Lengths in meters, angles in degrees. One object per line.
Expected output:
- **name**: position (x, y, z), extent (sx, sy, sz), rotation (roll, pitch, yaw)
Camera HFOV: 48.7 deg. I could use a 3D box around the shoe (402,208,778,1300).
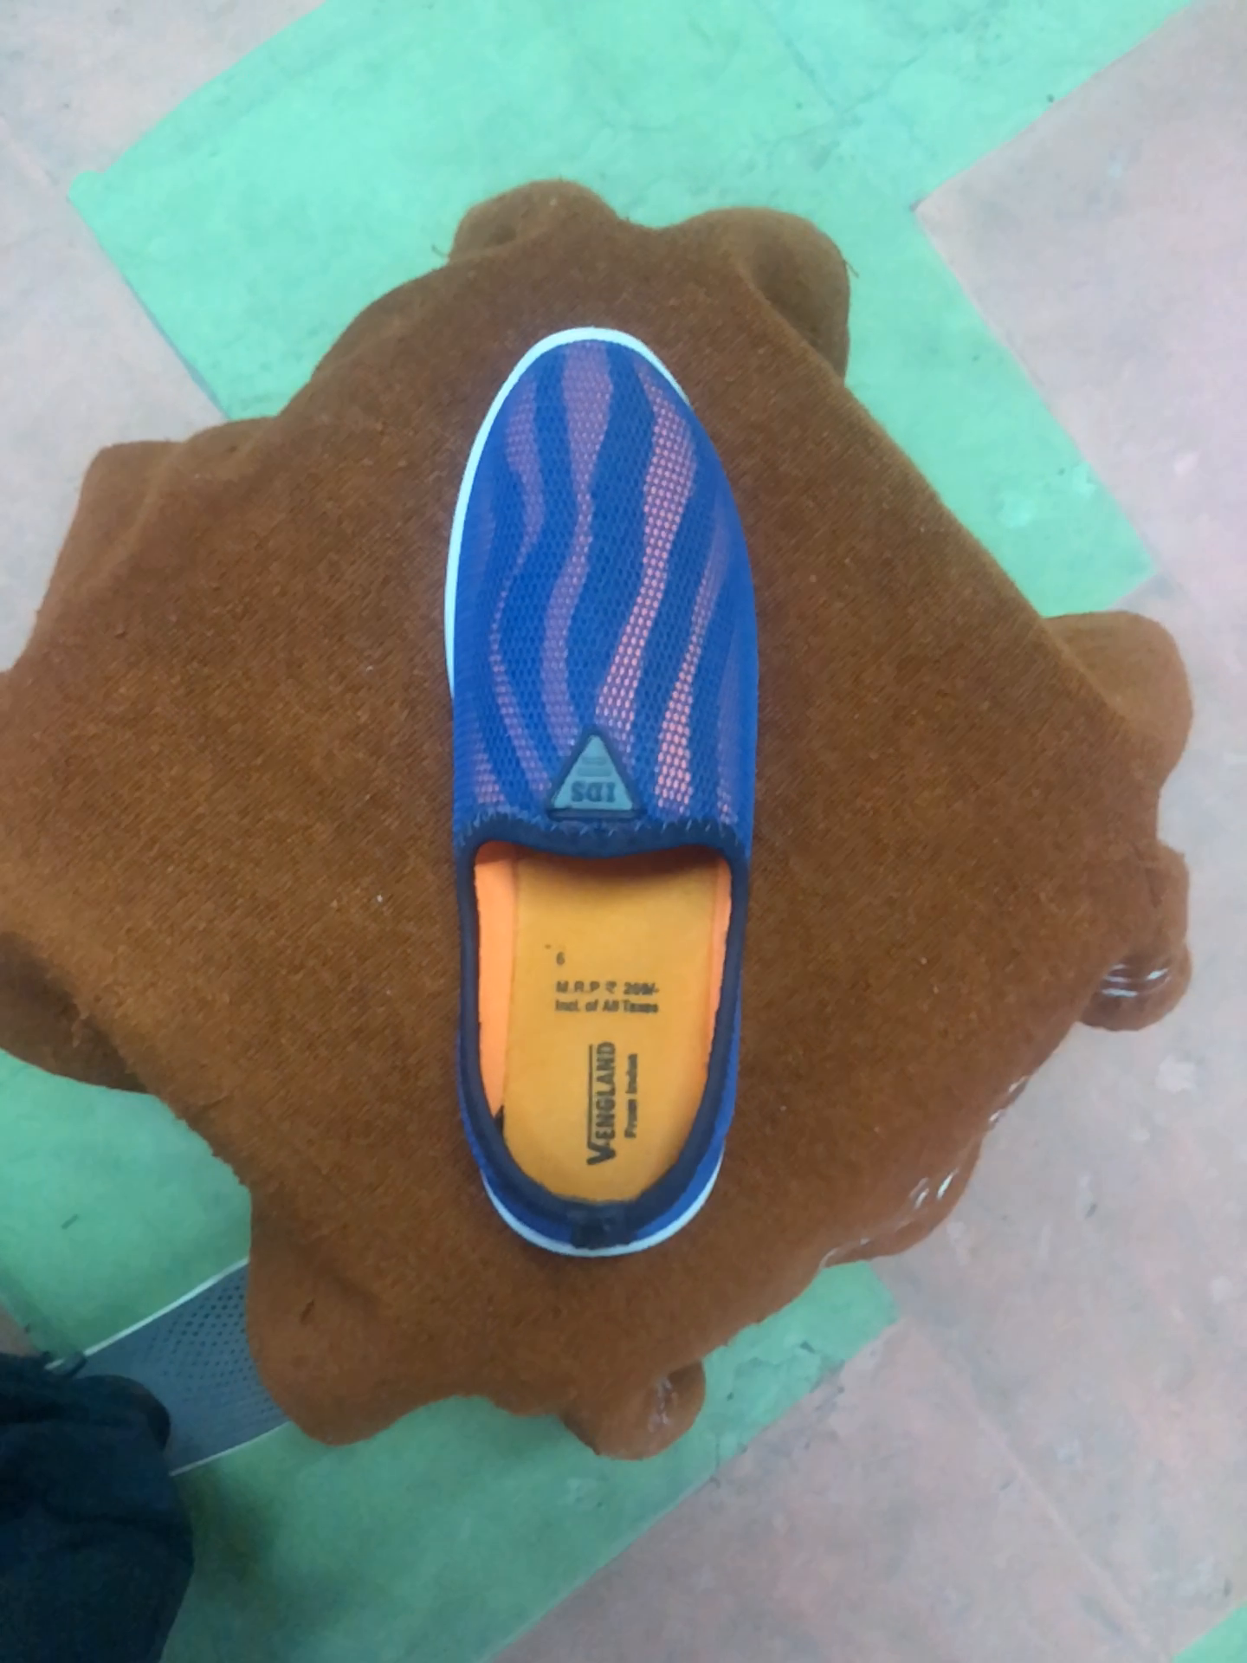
- **shoe**: position (-0.010, -0.018, 0.367), extent (0.090, 0.070, 0.260), rotation (0, 89, -5)
